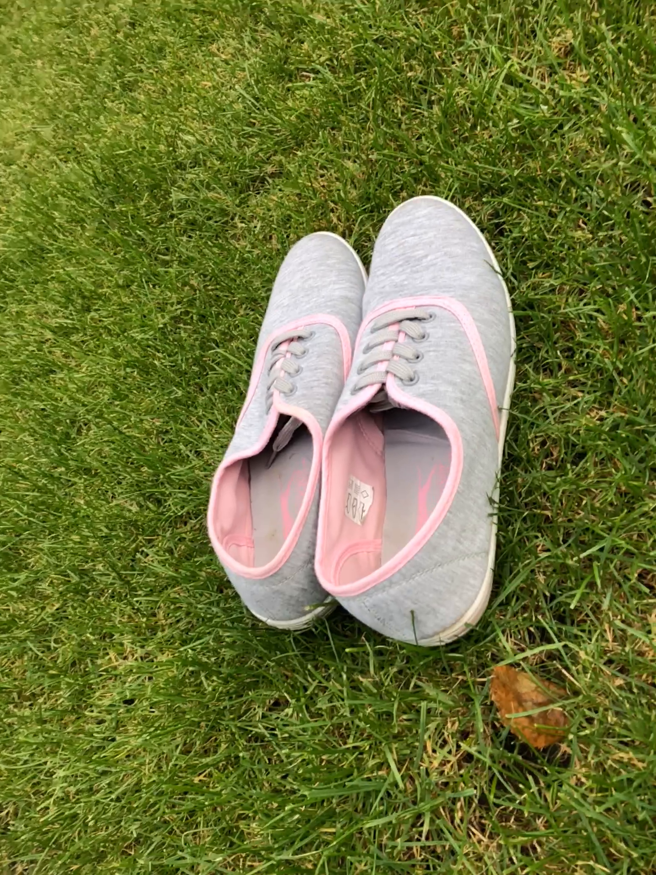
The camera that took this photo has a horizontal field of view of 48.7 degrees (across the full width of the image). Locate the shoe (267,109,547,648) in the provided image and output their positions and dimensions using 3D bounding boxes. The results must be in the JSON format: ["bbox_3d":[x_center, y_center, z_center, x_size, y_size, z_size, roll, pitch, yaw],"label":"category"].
[{"bbox_3d":[0.042,-0.026,0.391,0.100,0.090,0.261,-13,64,34],"label":"shoe"}]

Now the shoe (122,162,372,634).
[{"bbox_3d":[-0.041,-0.020,0.446,0.100,0.090,0.261,-13,64,34],"label":"shoe"}]
